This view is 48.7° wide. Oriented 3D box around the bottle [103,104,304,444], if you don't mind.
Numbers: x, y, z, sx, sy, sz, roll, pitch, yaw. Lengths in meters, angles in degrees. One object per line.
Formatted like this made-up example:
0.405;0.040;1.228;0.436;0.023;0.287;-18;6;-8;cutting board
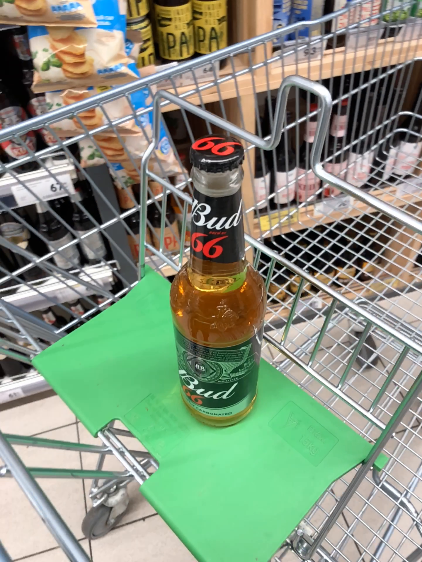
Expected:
0.002;0.014;0.326;0.080;0.239;0.070;19;50;20;bottle
